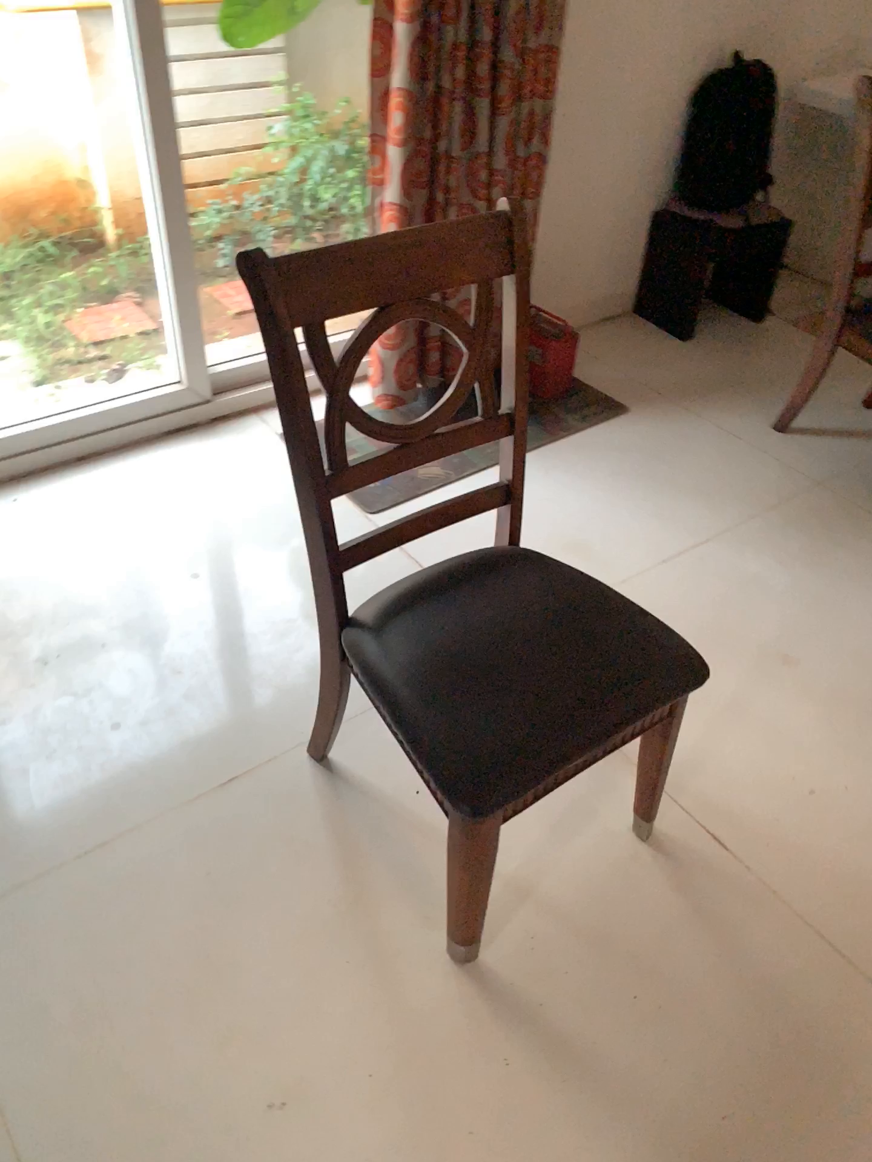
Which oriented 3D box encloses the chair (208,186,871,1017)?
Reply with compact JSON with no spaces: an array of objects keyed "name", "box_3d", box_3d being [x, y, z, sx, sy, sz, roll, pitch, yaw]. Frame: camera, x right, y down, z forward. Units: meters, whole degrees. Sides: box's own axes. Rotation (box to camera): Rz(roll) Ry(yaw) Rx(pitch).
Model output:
[{"name":"chair","box_3d":[0.101,0.039,1.419,0.571,1.026,0.642,-23,47,-27]}]
